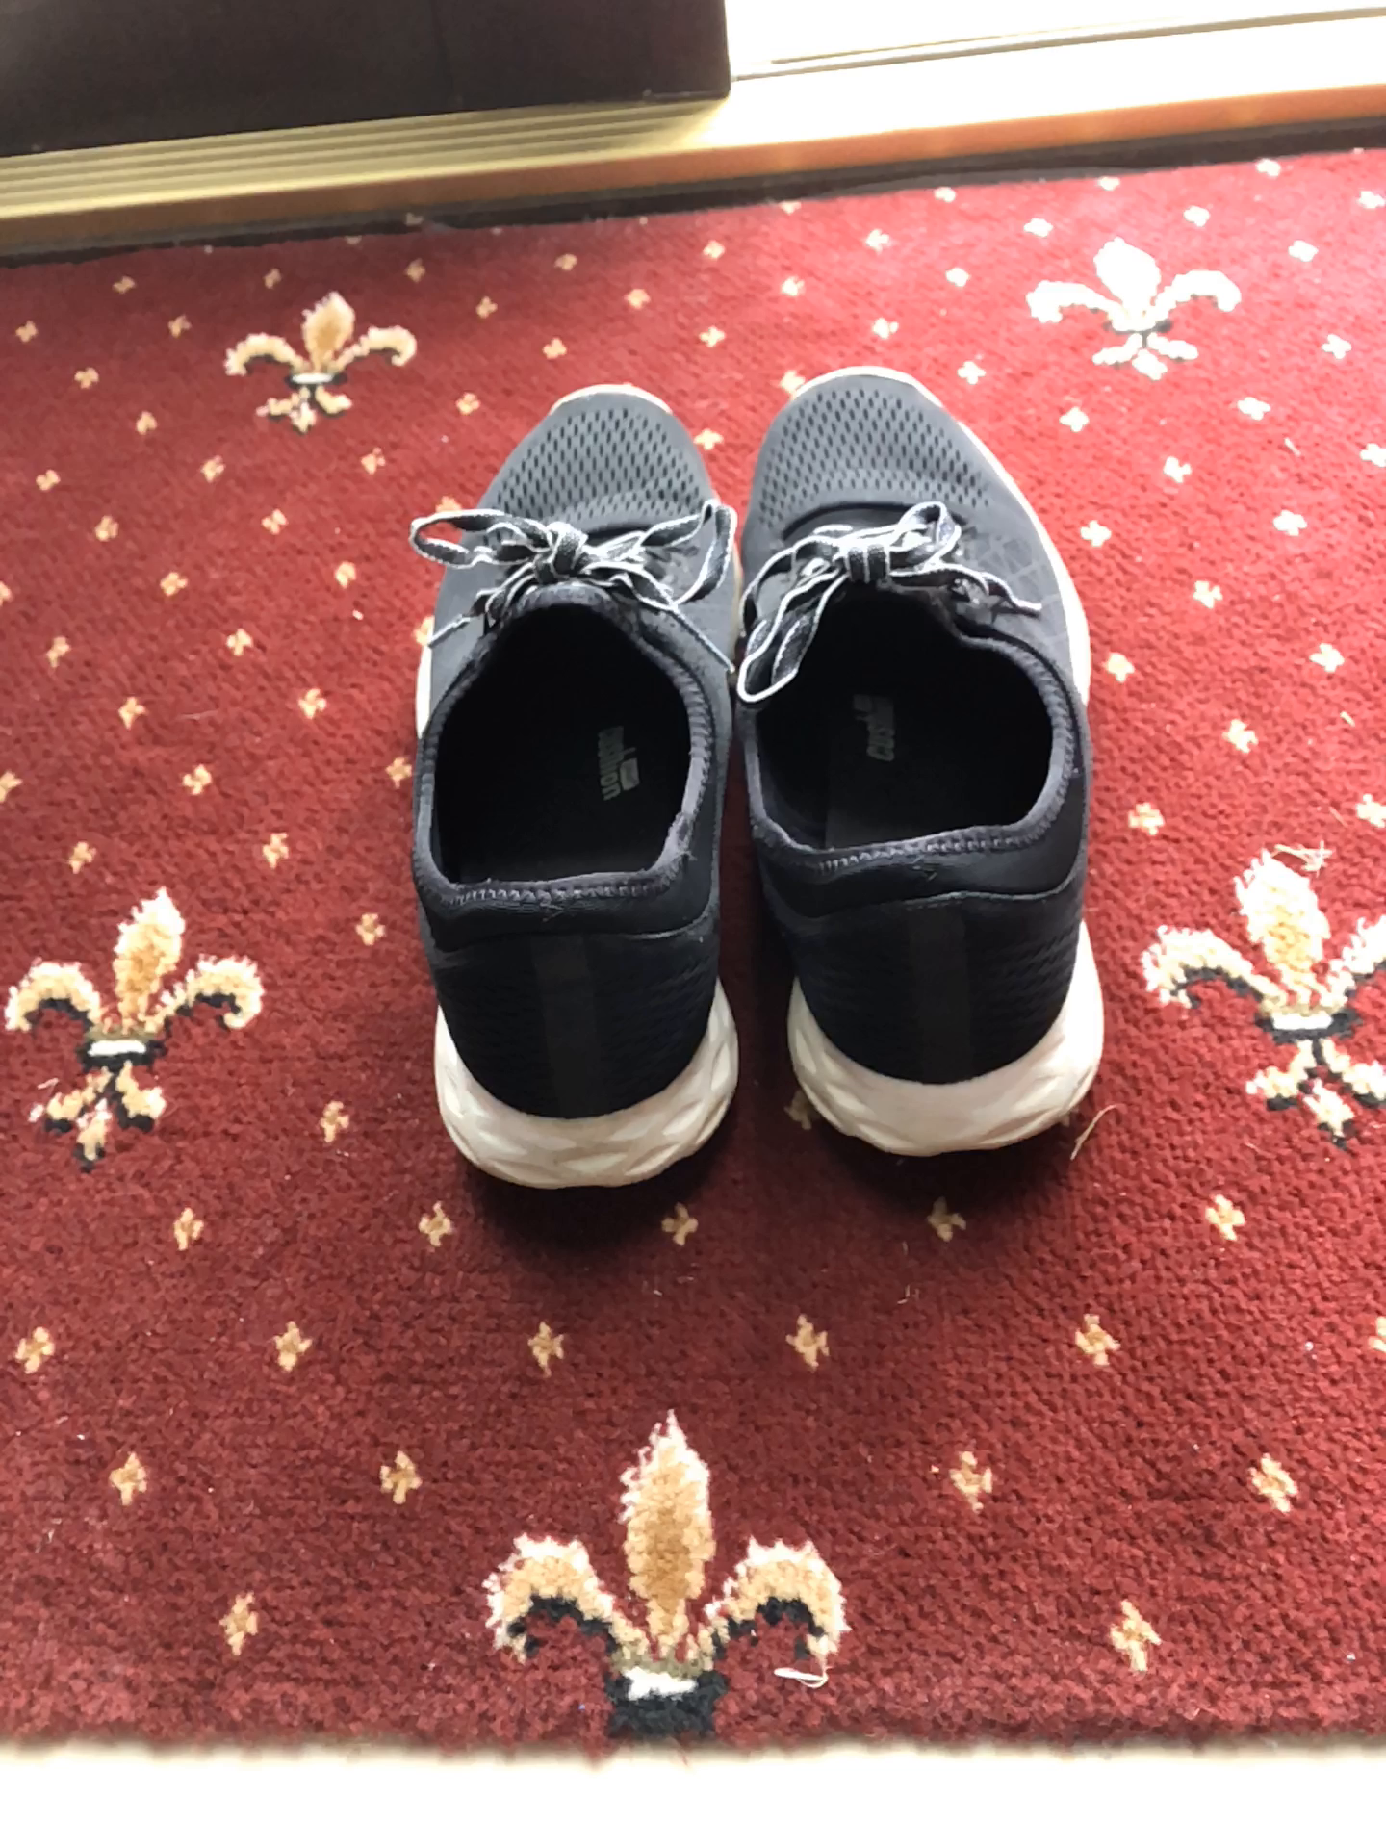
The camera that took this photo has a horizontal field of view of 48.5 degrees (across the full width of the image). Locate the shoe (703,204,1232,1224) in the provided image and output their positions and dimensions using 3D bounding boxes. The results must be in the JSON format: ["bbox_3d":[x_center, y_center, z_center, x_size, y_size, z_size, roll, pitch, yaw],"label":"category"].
[{"bbox_3d":[0.061,-0.068,0.419,0.100,0.109,0.272,-3,53,6],"label":"shoe"}]

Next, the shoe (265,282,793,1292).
[{"bbox_3d":[-0.032,-0.050,0.432,0.100,0.109,0.272,-4,53,5],"label":"shoe"}]
